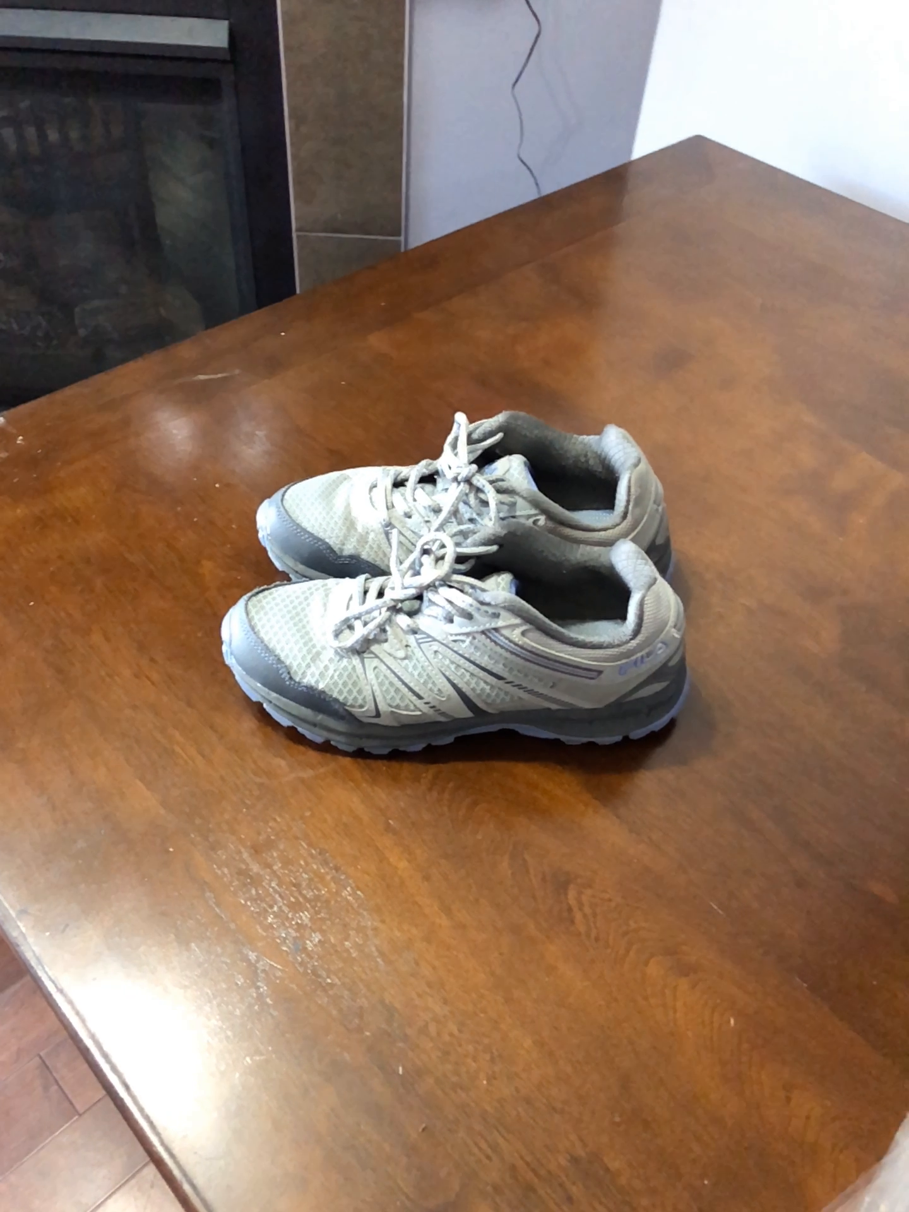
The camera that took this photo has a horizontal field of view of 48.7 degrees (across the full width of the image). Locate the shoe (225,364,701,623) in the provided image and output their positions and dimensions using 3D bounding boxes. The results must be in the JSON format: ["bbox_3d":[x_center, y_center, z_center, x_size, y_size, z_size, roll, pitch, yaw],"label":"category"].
[{"bbox_3d":[0.002,-0.066,0.599,0.250,0.100,0.110,1,47,-3],"label":"shoe"}]

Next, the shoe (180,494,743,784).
[{"bbox_3d":[0.001,0.019,0.536,0.260,0.100,0.110,1,47,-3],"label":"shoe"}]
